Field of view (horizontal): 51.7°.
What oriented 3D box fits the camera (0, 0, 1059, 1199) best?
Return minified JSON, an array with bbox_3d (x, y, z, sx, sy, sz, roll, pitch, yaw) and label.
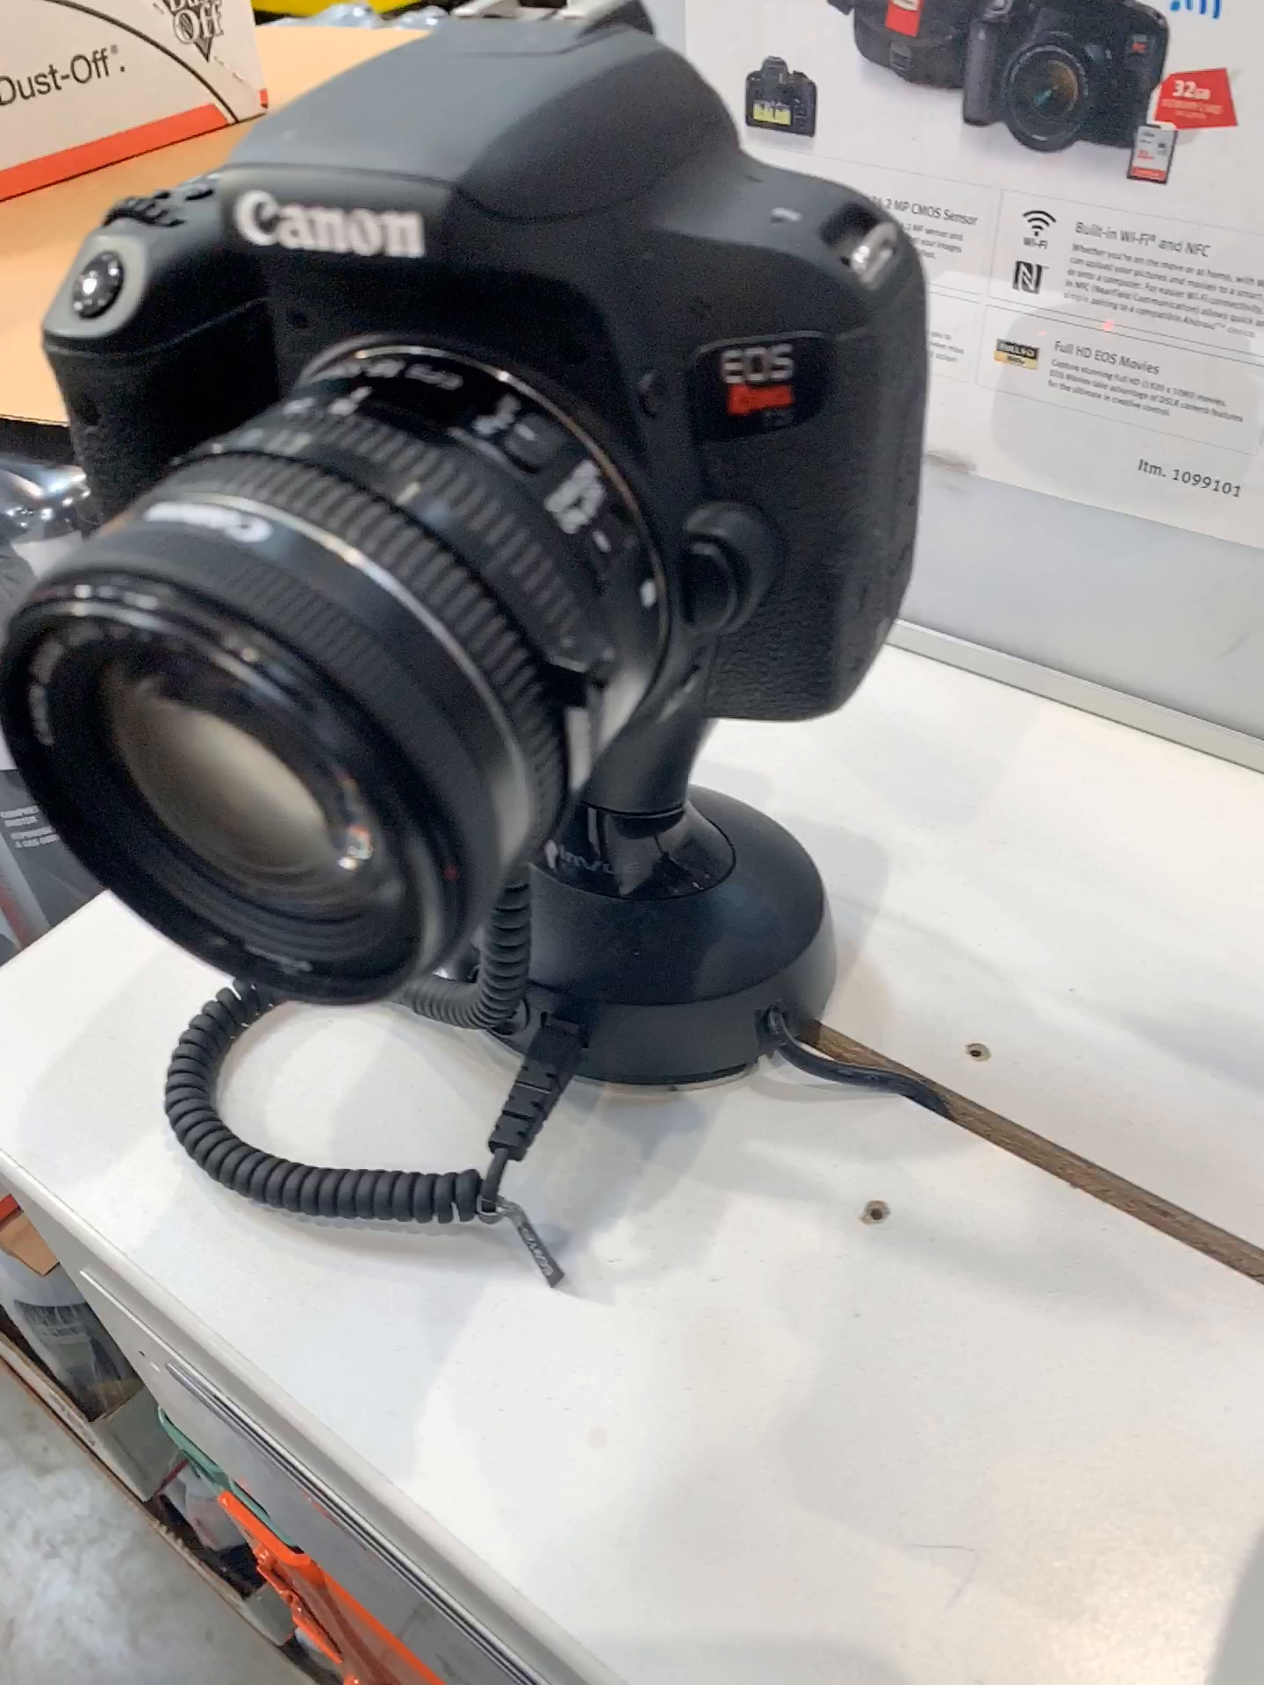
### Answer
[{"bbox_3d":[-0.031,-0.049,0.175,0.134,0.089,0.121,16,47,21],"label":"camera"}]
